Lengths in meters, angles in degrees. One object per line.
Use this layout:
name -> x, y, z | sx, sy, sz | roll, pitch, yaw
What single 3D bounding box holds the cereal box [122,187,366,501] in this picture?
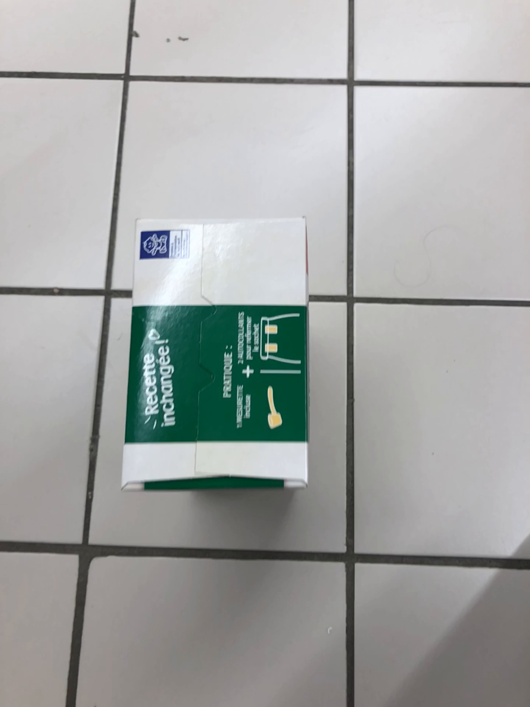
cereal box -> -0.007, 0.014, 0.353 | 0.100, 0.200, 0.140 | 0, 77, 1
